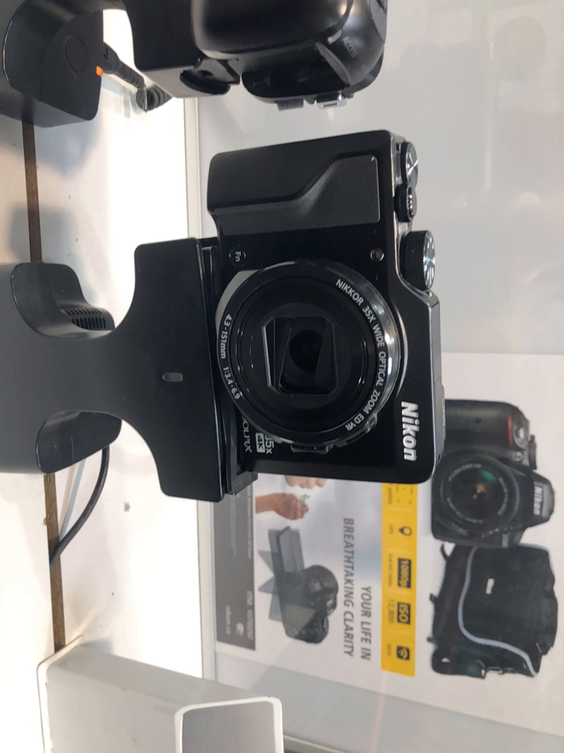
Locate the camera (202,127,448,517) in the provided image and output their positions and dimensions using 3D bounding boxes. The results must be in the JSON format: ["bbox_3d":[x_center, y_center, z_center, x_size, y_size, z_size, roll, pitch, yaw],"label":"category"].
[{"bbox_3d":[0.019,-0.018,0.216,0.044,0.069,0.116,-43,133,-65],"label":"camera"}]
